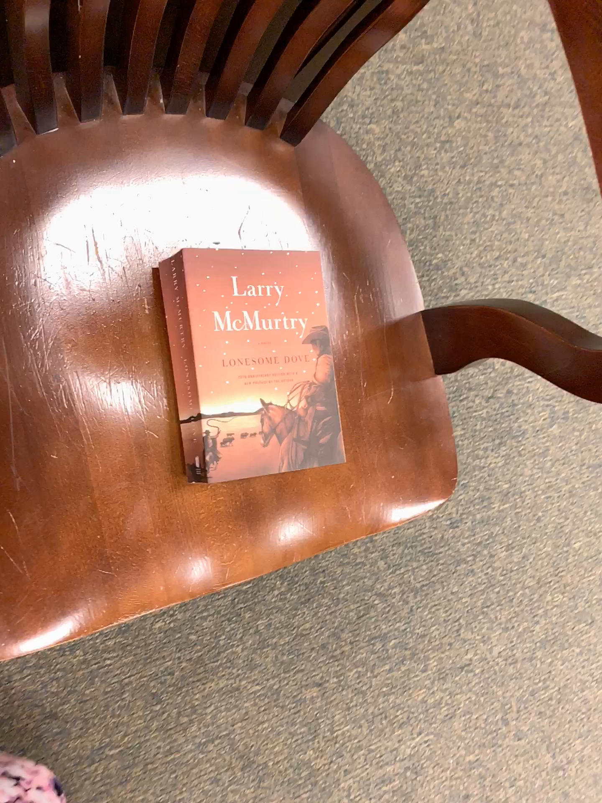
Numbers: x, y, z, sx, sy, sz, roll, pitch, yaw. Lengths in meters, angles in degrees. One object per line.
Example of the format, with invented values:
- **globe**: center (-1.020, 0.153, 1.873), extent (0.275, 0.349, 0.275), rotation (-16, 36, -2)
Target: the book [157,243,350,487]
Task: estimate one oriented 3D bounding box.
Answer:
- **book**: center (-0.043, -0.035, 0.557), extent (0.140, 0.060, 0.200), rotation (-6, 88, -25)
